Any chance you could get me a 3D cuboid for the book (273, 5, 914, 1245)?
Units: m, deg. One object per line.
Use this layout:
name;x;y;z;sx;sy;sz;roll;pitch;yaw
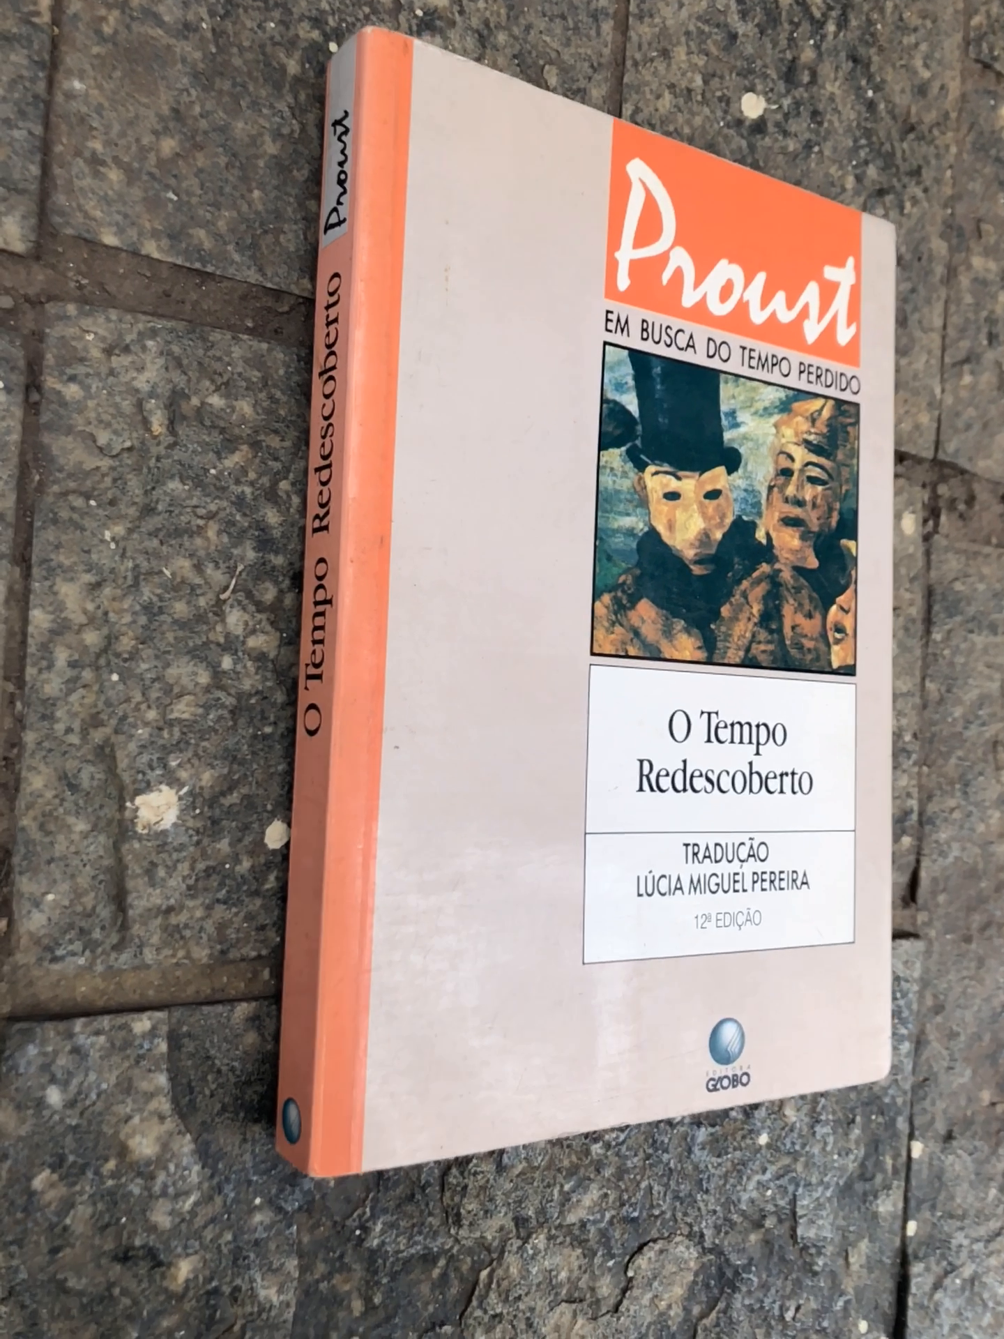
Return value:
book;0.027;-0.006;0.223;0.134;0.023;0.199;4;86;-31
